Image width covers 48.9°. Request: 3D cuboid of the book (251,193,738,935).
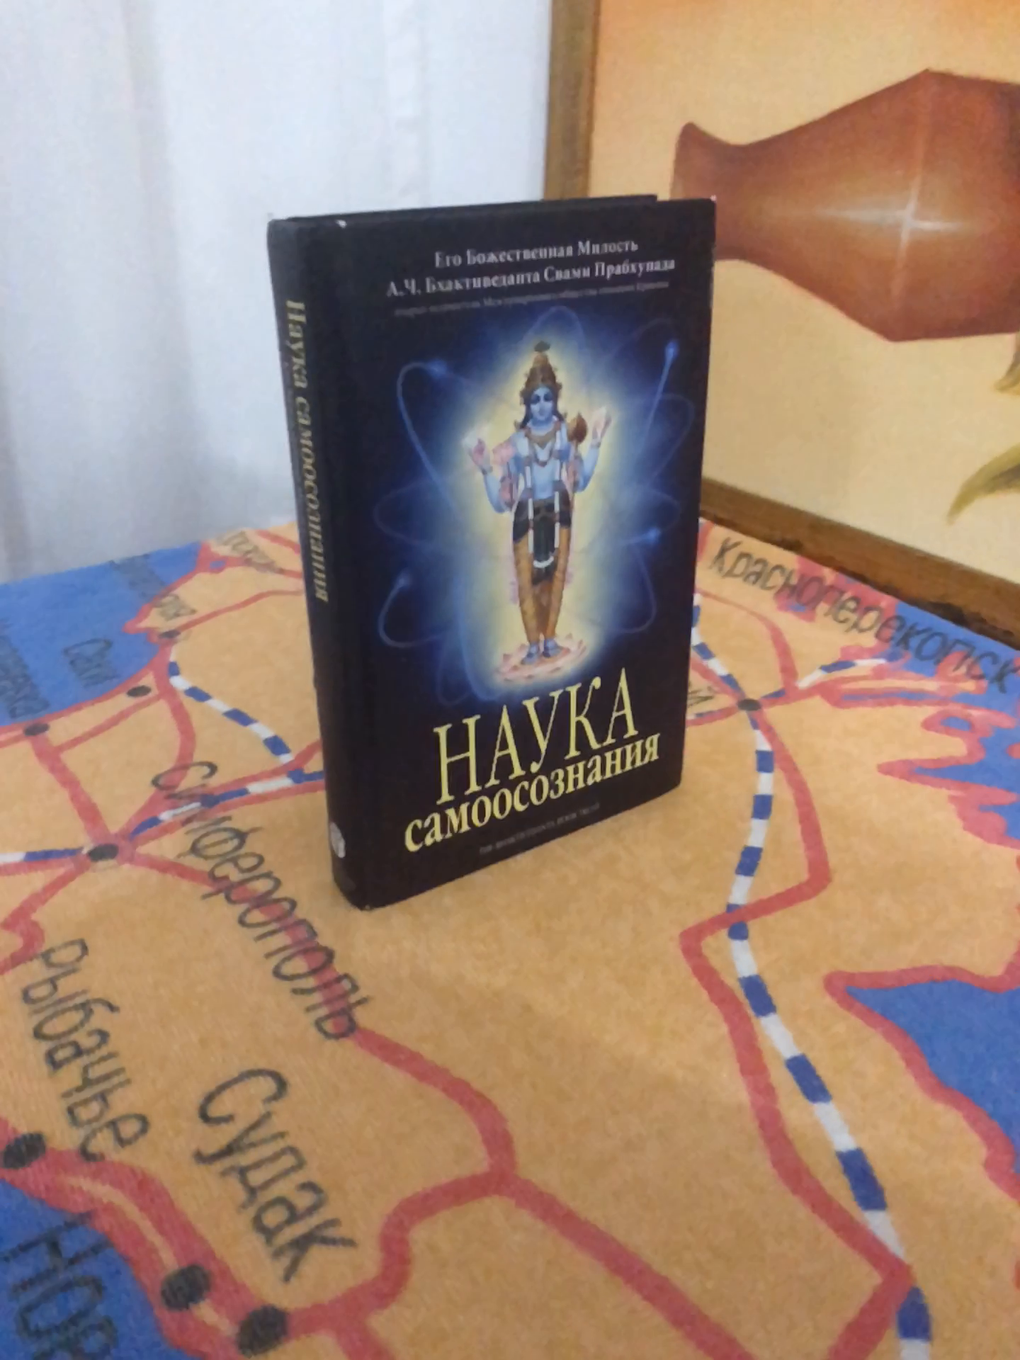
[{"bbox_3d":[0.004,-0.037,0.351,0.140,0.205,0.030,-17,29,-30],"label":"book"}]
